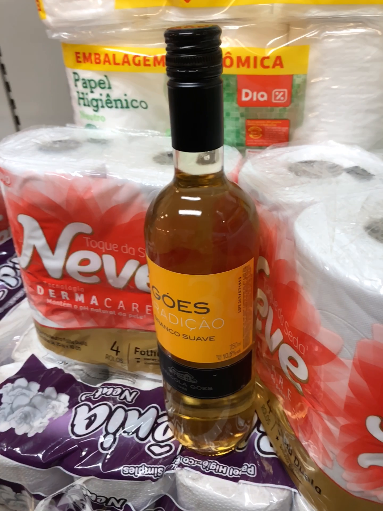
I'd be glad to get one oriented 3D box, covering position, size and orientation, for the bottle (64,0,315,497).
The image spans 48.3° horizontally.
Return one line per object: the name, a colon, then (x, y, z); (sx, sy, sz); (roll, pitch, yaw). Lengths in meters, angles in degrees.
bottle: (0.012, 0.013, 0.296); (0.090, 0.317, 0.090); (-4, 31, 2)
